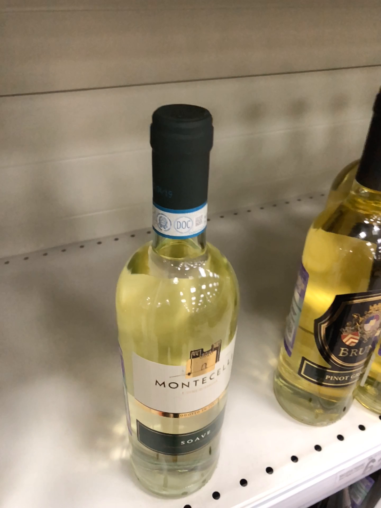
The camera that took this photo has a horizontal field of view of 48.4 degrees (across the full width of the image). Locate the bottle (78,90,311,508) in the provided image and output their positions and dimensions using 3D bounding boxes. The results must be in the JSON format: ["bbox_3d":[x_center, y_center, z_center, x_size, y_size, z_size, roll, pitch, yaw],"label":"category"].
[{"bbox_3d":[-0.006,0.055,0.271,0.080,0.284,0.070,-16,39,-23],"label":"bottle"}]
